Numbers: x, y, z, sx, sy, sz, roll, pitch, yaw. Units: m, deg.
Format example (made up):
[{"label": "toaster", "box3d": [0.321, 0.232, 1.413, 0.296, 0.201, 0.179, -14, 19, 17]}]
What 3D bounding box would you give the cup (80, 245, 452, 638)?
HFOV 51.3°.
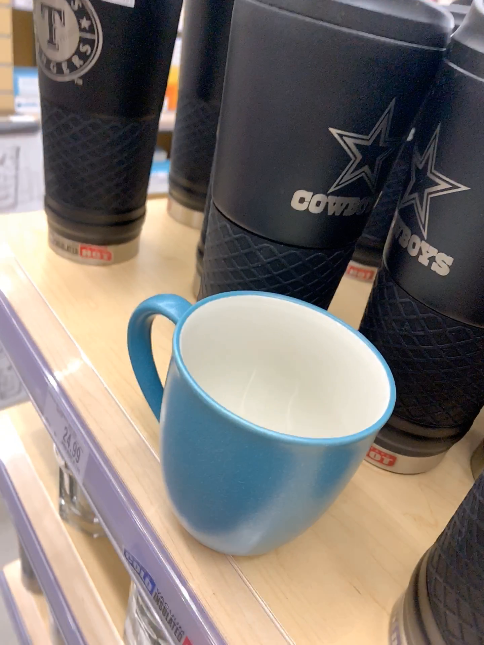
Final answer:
[{"label": "cup", "box3d": [0.003, 0.039, 0.220, 0.116, 0.084, 0.090, 37, 40, 28]}]
